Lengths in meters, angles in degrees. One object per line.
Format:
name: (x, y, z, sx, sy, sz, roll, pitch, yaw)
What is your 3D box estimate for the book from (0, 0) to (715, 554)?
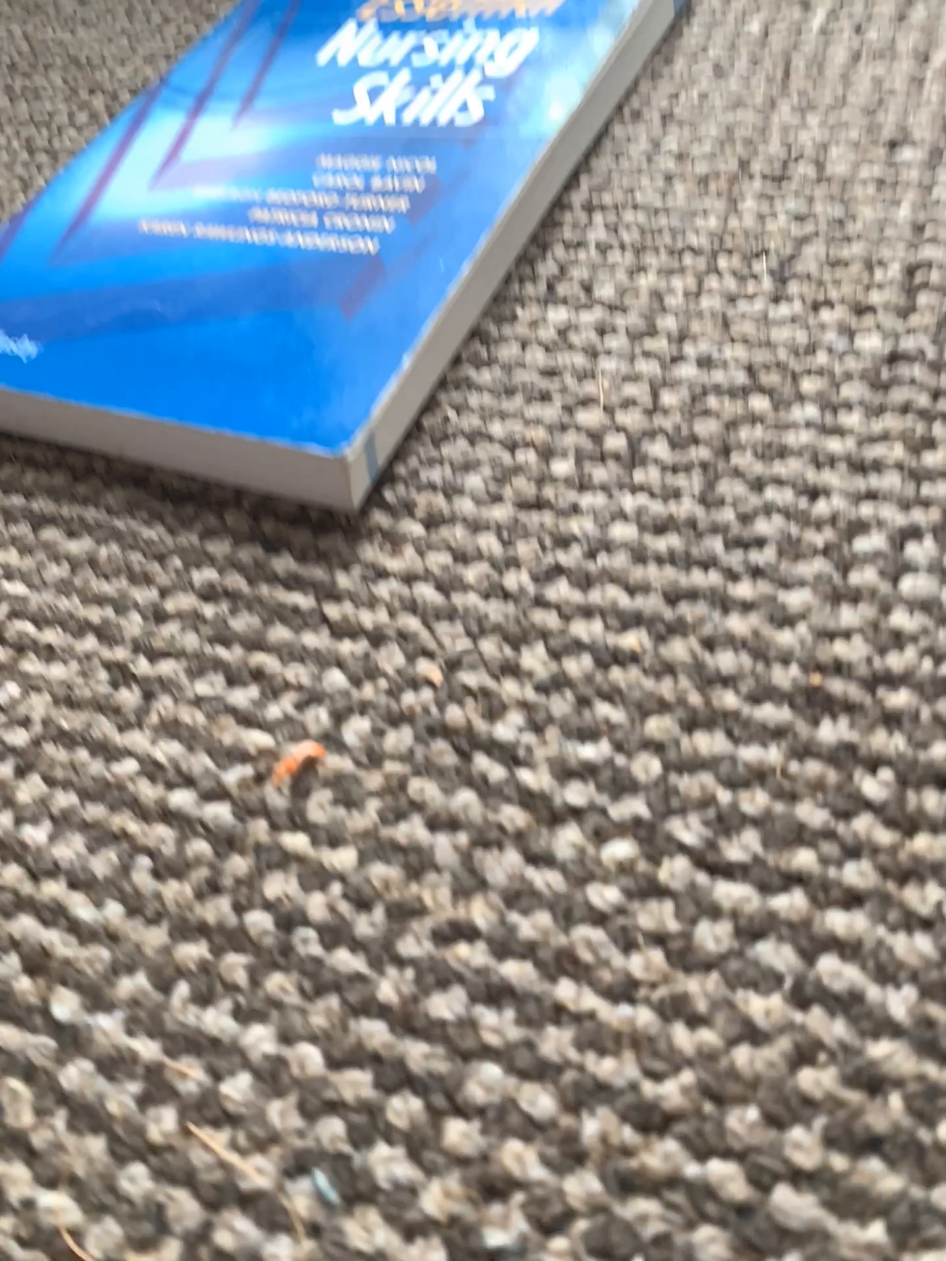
book: (-0.048, -0.144, 0.297, 0.171, 0.020, 0.251, 15, 62, 24)
